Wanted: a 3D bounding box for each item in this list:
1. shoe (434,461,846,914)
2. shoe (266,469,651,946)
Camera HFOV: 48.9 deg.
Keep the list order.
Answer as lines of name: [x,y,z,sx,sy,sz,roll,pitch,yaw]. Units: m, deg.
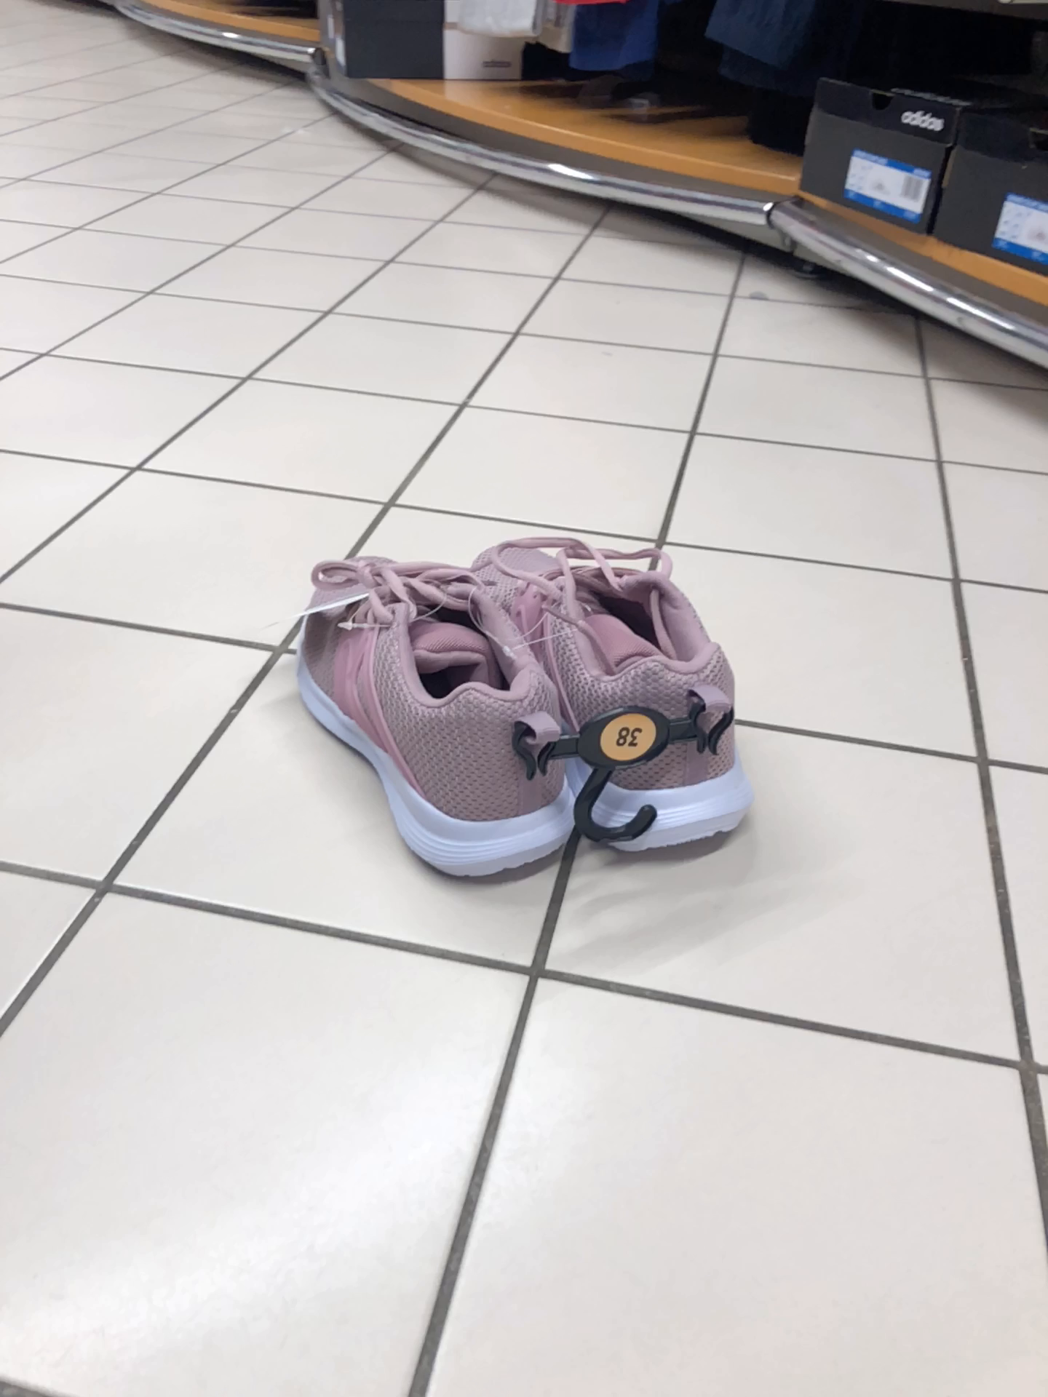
shoe: [0.042,-0.023,0.601,0.100,0.092,0.261,-12,38,-19]
shoe: [-0.047,-0.013,0.593,0.103,0.099,0.261,-13,38,-20]
